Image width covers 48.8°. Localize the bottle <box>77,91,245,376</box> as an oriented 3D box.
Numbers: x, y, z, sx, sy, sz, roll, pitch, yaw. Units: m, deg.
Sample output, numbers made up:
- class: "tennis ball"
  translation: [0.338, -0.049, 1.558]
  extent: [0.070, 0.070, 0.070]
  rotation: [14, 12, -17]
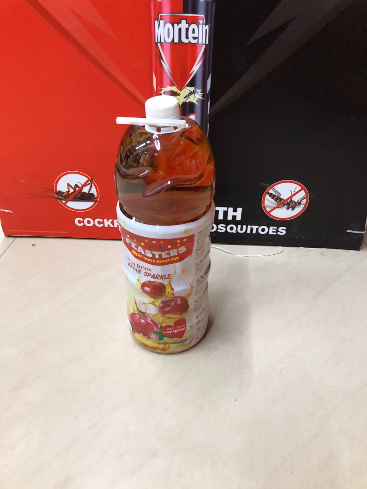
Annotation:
- class: "bottle"
  translation: [-0.015, -0.004, 0.436]
  extent: [0.120, 0.278, 0.101]
  rotation: [11, 35, 16]
